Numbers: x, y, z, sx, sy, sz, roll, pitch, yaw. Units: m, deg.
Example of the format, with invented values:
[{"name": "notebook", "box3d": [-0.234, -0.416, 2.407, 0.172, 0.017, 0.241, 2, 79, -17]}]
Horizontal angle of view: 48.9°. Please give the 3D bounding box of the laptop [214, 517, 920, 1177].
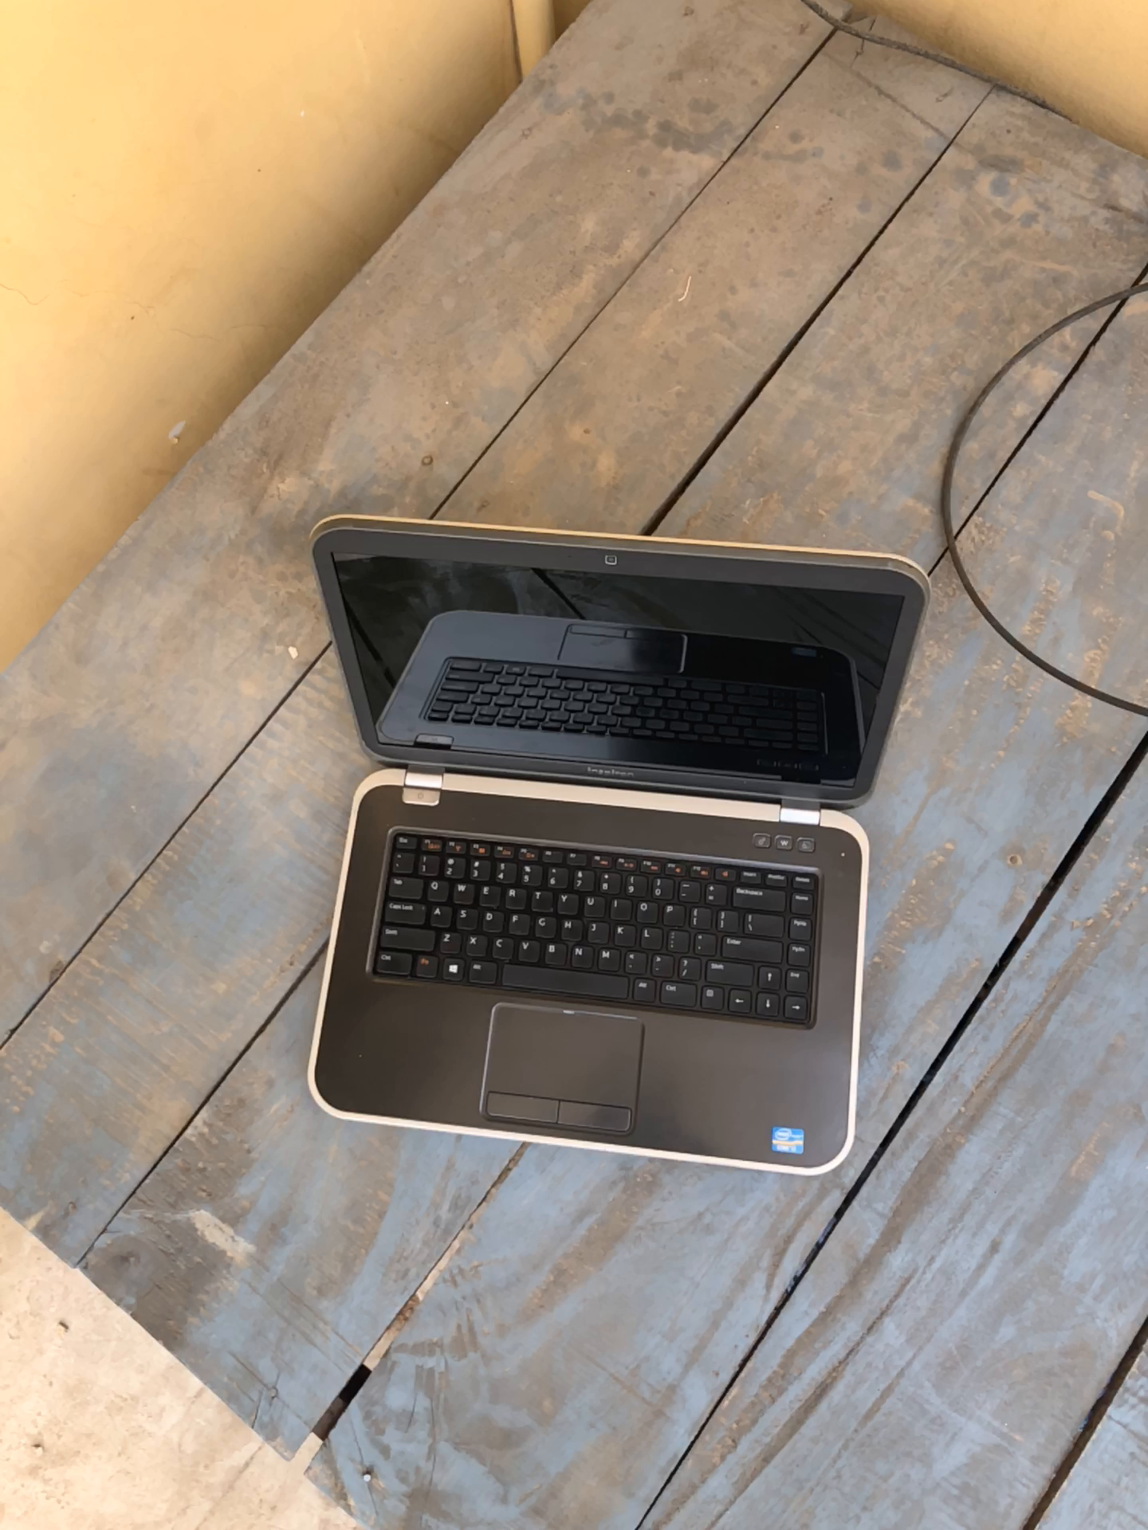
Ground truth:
[{"name": "laptop", "box3d": [0.010, 0.057, 0.791, 0.352, 0.210, 0.333, 5, 75, 7]}]
